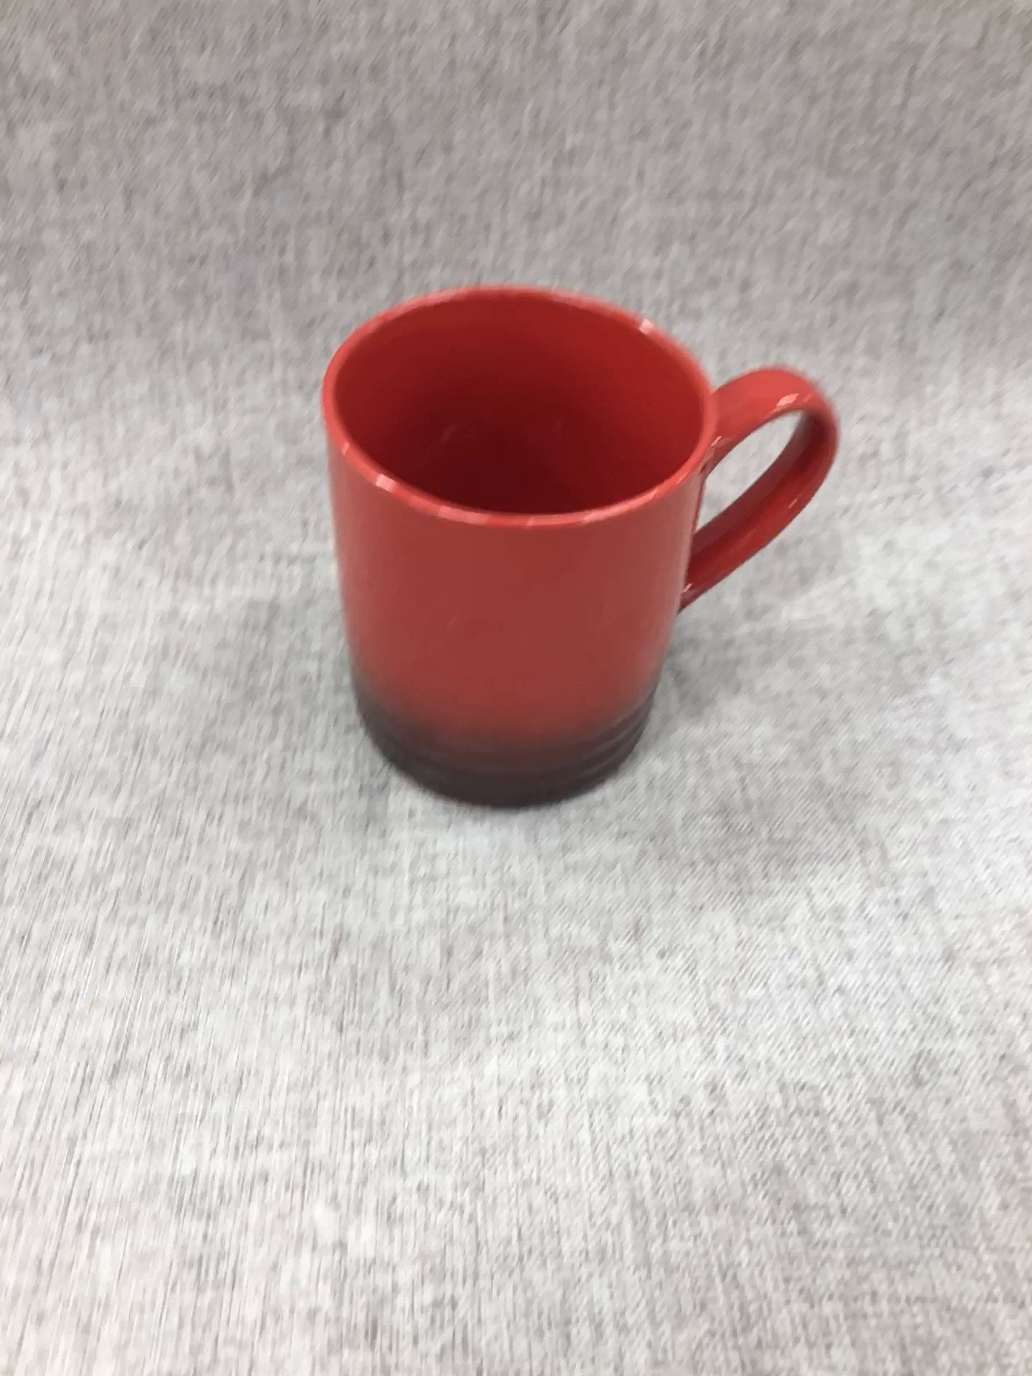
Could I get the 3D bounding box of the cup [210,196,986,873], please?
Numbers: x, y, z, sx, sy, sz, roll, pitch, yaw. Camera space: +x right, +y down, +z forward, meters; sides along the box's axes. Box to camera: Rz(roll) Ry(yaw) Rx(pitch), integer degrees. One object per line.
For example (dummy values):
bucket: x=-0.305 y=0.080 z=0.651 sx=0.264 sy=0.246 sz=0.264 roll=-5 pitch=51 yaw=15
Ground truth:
cup: x=0.015 y=-0.038 z=0.277 sx=0.140 sy=0.099 sz=0.080 roll=-20 pitch=54 yaw=-17
